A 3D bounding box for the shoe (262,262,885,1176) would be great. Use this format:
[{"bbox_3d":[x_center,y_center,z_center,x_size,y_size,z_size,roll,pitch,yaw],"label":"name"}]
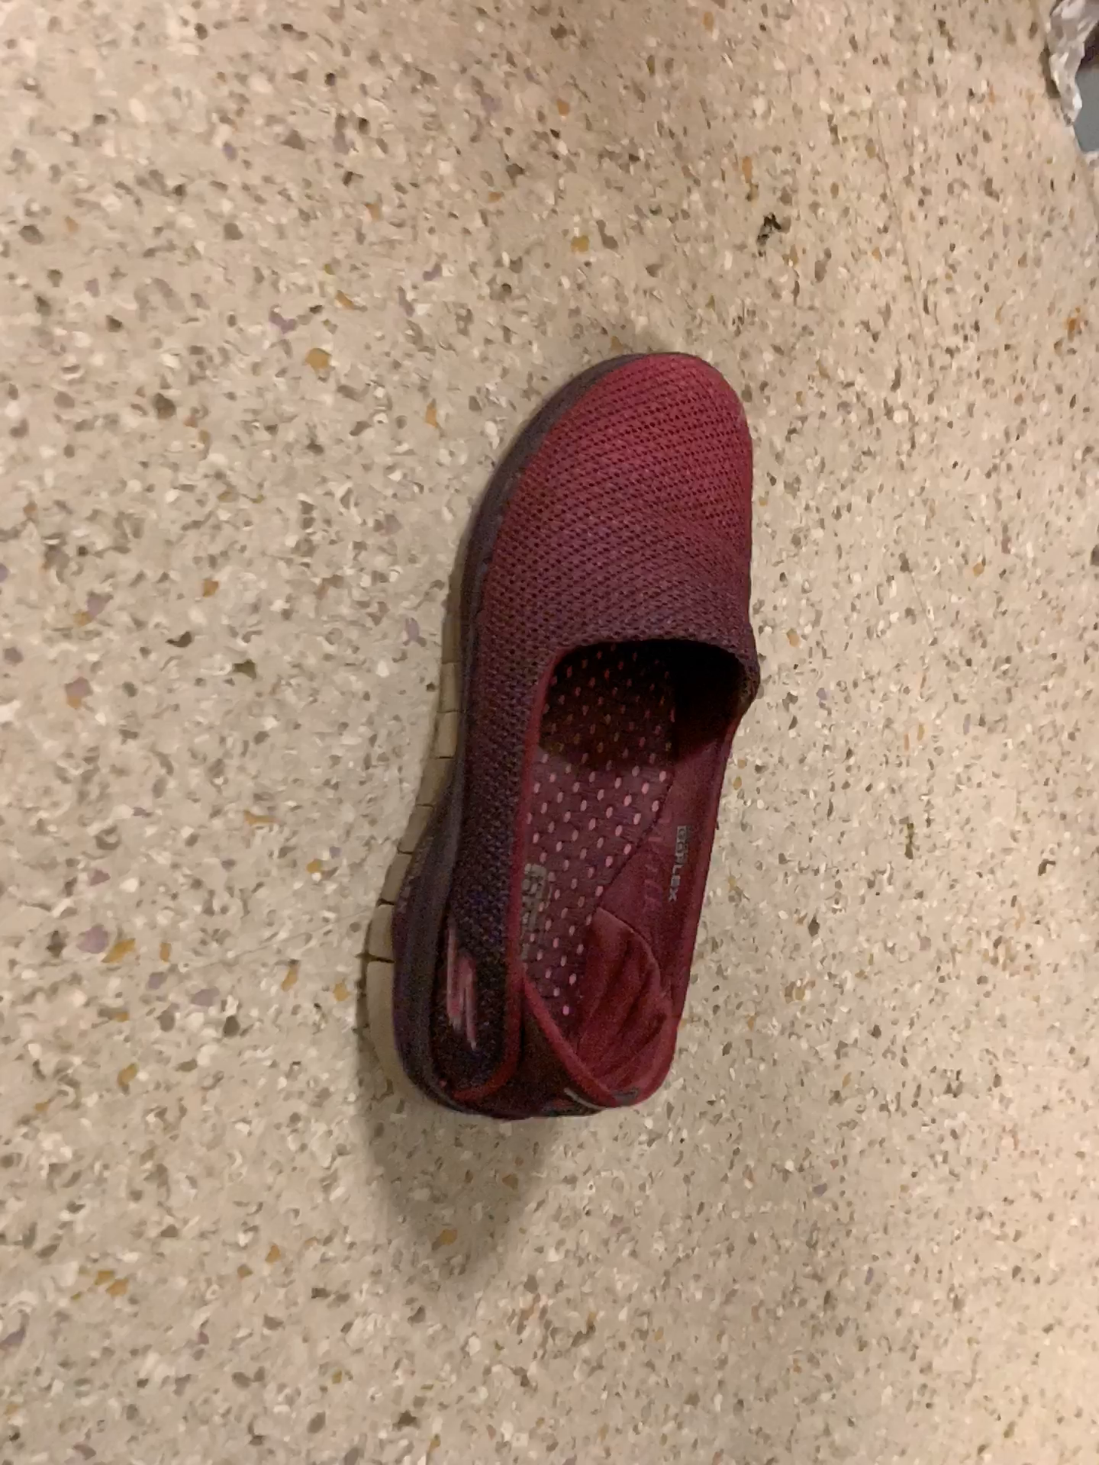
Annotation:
[{"bbox_3d":[0.009,-0.003,0.340,0.092,0.091,0.229,23,79,-33],"label":"shoe"}]
